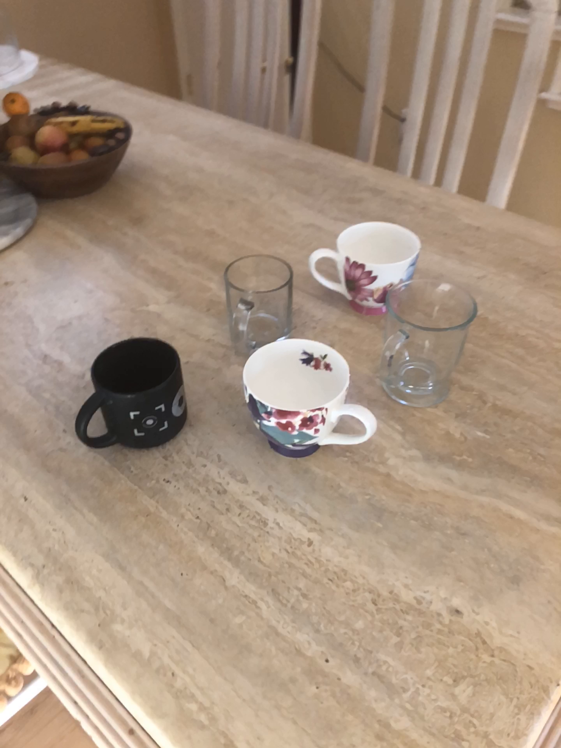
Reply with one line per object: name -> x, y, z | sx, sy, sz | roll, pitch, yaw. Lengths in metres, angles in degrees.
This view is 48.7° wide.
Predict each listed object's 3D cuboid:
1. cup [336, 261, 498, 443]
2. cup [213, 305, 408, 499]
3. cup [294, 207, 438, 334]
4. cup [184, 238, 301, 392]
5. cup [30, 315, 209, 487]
cup -> 0.148, -0.028, 0.689 | 0.100, 0.119, 0.141 | 33, 52, 32
cup -> 0.030, 0.023, 0.623 | 0.150, 0.099, 0.111 | 25, 48, 25
cup -> 0.107, -0.140, 0.822 | 0.150, 0.099, 0.111 | -13, 44, -13
cup -> -0.041, -0.075, 0.764 | 0.090, 0.119, 0.131 | 15, 45, 17
cup -> -0.167, 0.024, 0.663 | 0.100, 0.089, 0.141 | 33, 52, 32
